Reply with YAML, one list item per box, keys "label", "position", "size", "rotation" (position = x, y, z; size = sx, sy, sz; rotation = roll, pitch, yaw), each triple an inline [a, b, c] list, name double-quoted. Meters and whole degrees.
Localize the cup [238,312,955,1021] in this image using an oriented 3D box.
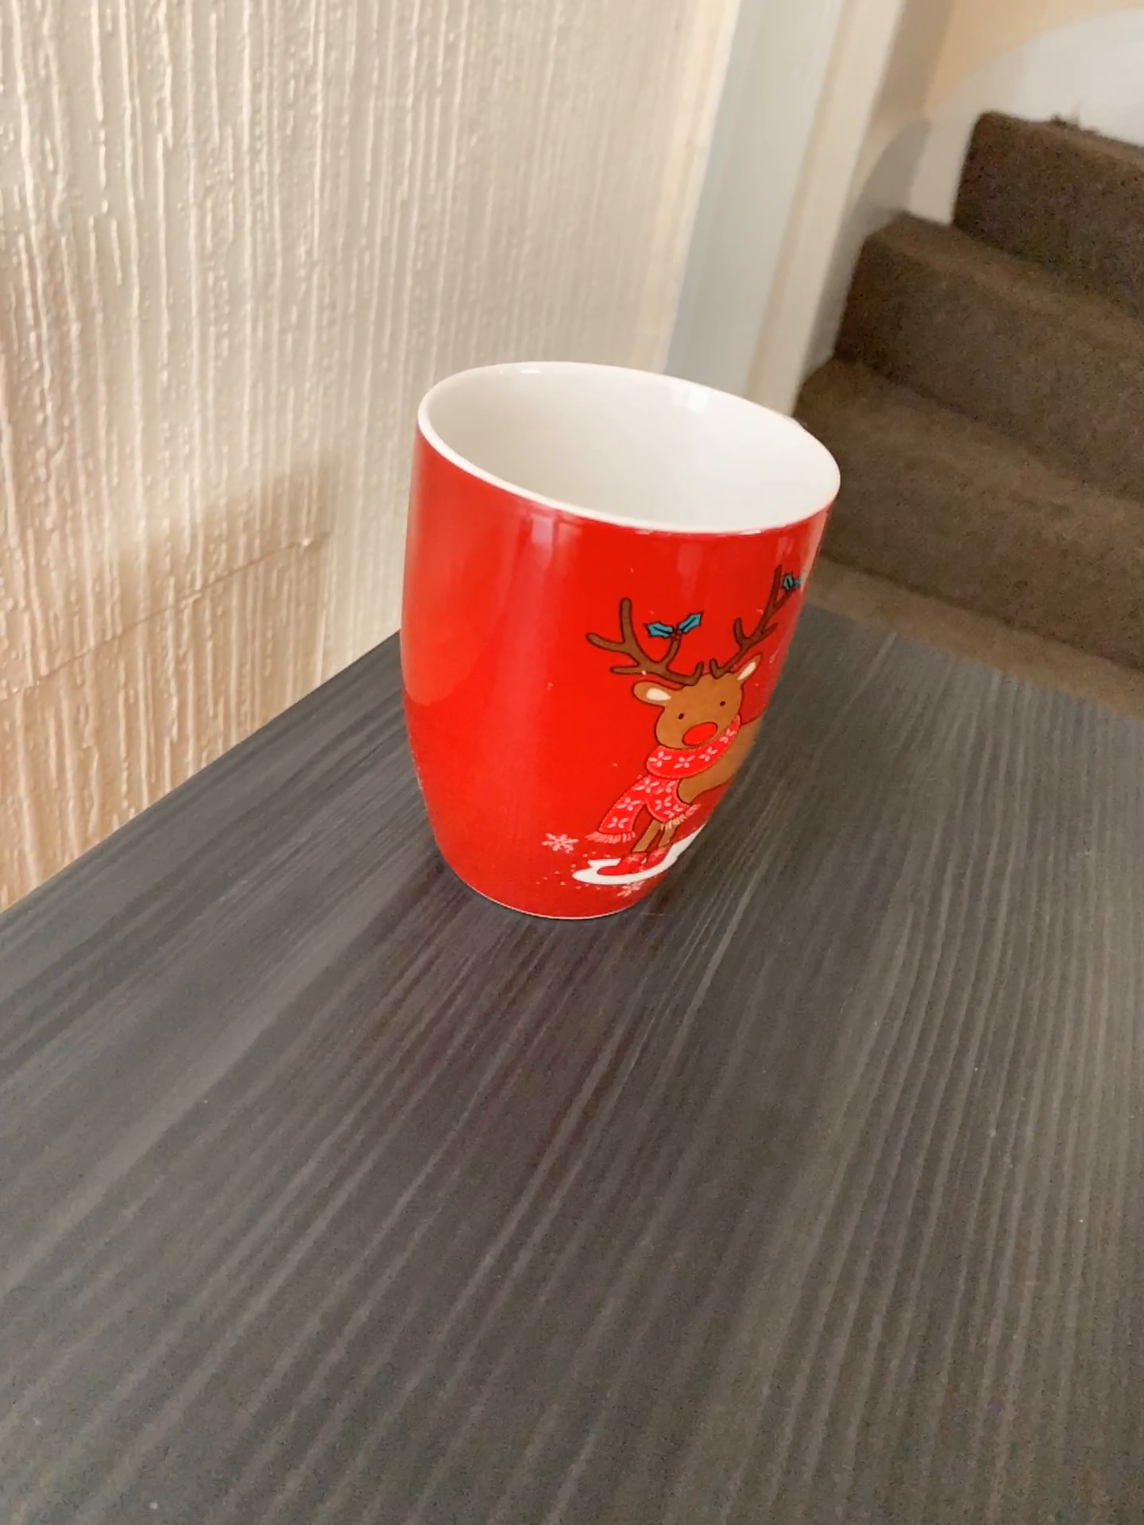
- label: "cup"
  position: [0.008, -0.033, 0.263]
  size: [0.090, 0.089, 0.131]
  rotation: [27, 37, 22]
